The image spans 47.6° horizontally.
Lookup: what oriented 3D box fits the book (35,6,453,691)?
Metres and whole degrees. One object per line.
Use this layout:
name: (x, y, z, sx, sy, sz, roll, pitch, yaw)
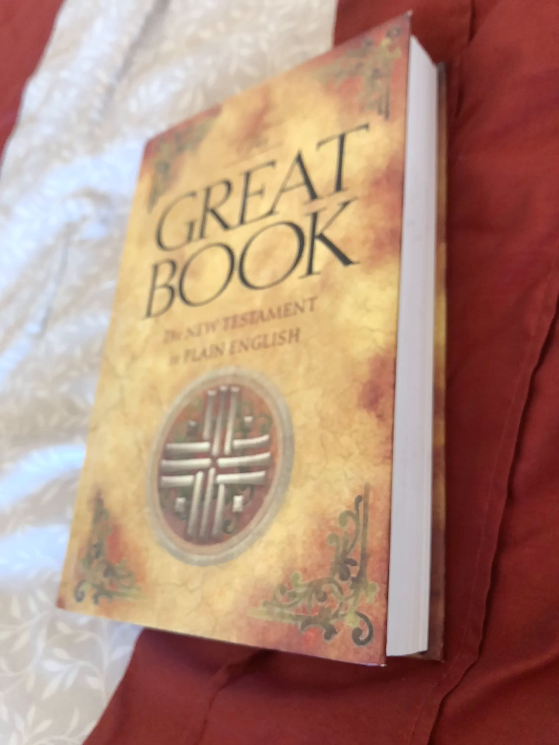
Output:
book: (-0.015, -0.010, 0.256, 0.161, 0.040, 0.220, -9, 68, 38)
